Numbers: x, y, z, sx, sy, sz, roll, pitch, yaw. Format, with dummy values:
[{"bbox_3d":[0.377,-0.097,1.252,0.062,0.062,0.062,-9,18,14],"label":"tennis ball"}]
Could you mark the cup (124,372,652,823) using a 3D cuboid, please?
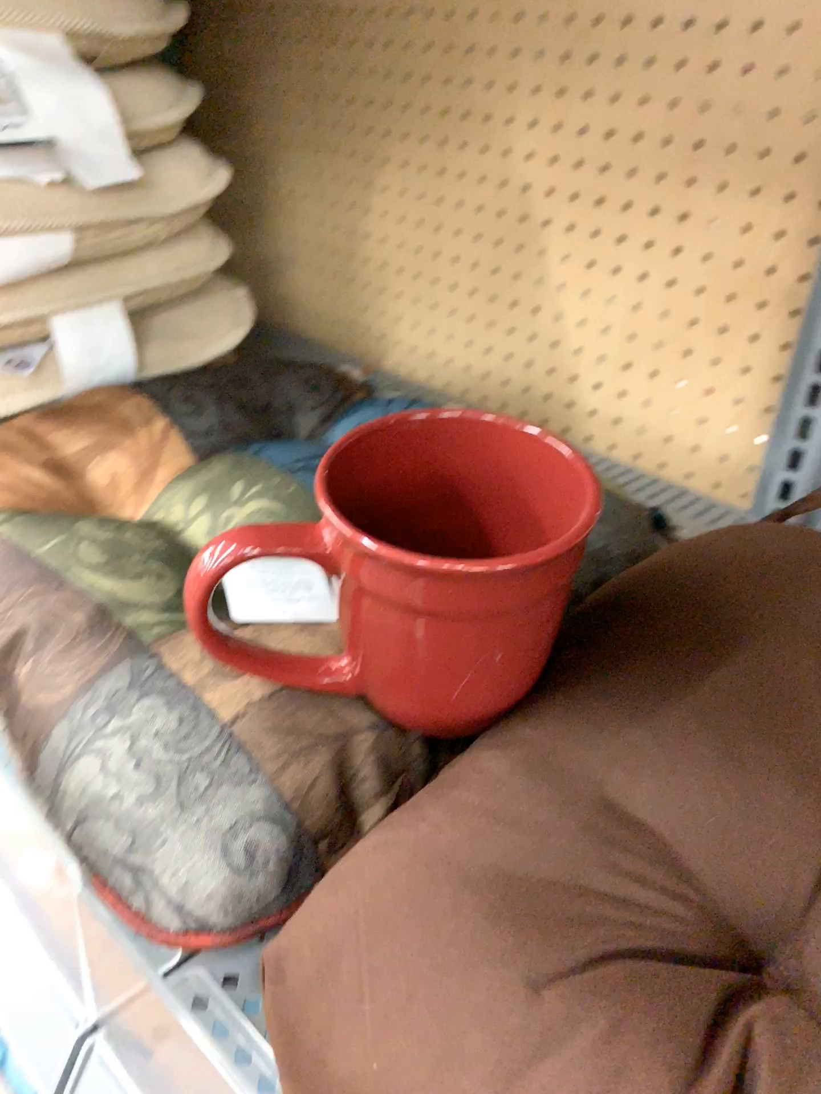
[{"bbox_3d":[-0.013,0.010,0.310,0.150,0.089,0.101,-13,41,-18],"label":"cup"}]
